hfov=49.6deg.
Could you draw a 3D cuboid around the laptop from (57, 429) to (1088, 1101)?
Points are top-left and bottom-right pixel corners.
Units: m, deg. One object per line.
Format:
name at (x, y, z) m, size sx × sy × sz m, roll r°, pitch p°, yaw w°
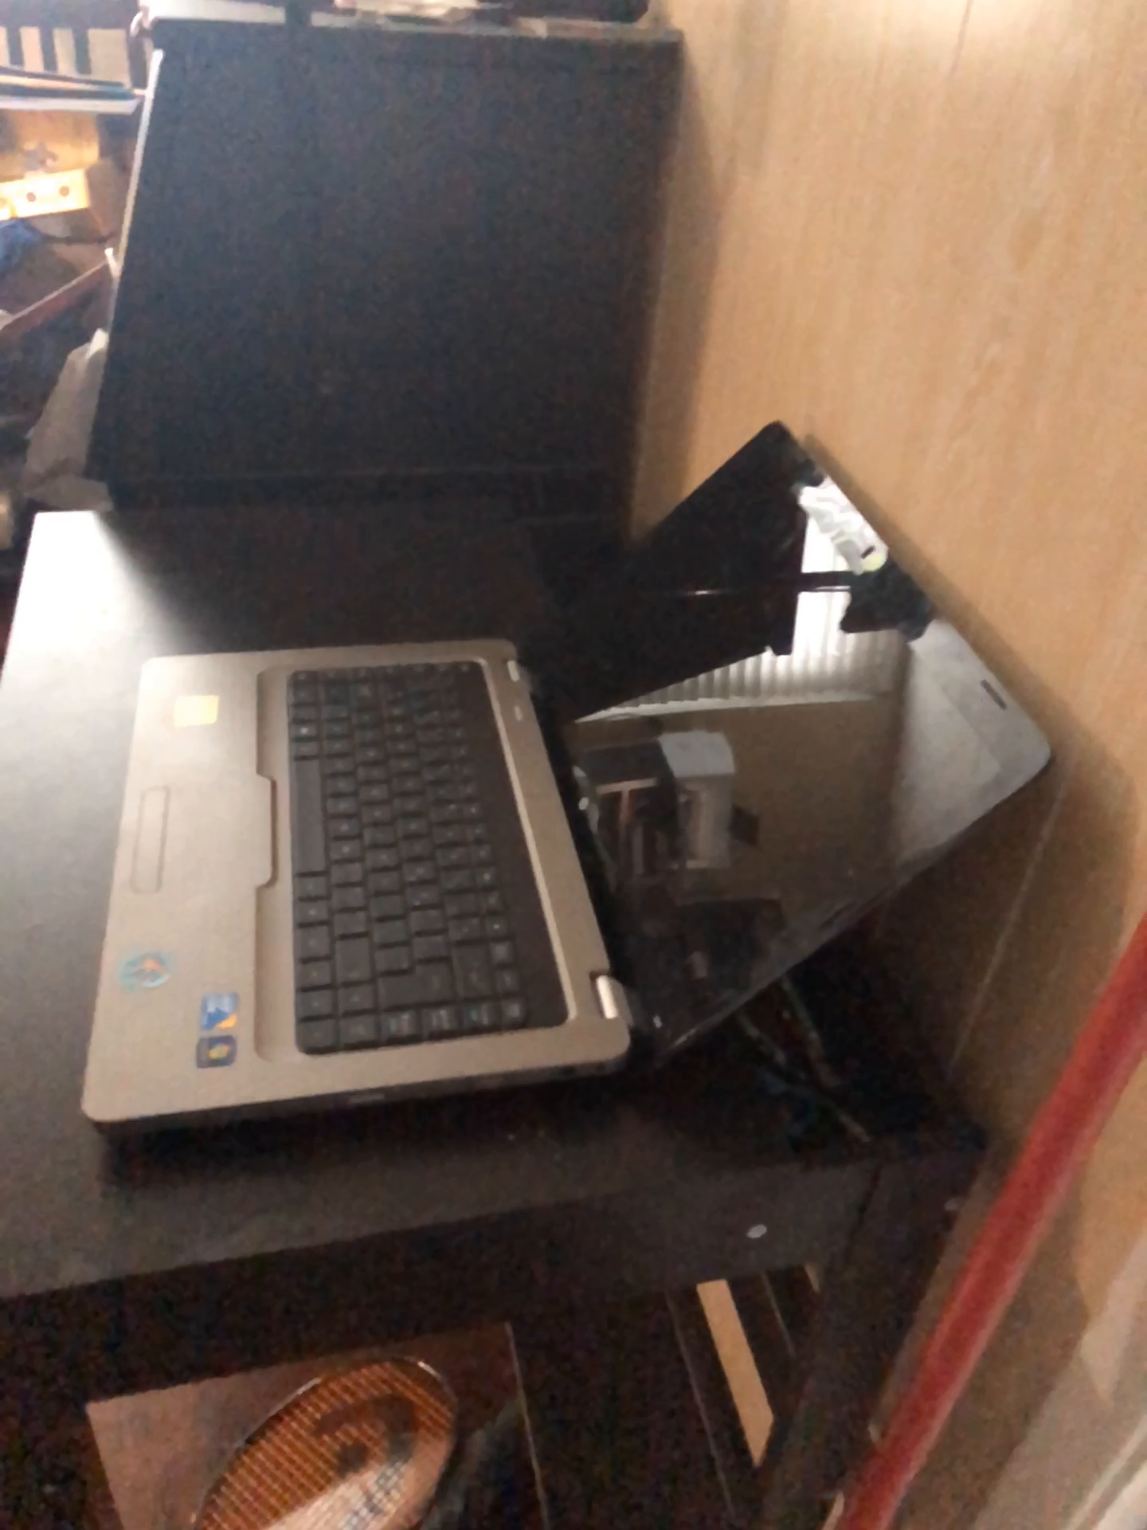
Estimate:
laptop at (-0.027, -0.037, 0.681) m, size 0.418 × 0.154 × 0.365 m, roll -4°, pitch 37°, yaw -11°
